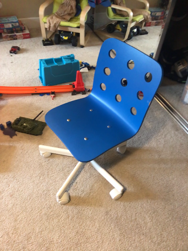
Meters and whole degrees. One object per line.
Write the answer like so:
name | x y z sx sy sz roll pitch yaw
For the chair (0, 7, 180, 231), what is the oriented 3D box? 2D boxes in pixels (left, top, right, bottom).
chair | -0.085 -0.009 0.858 0.362 0.705 0.521 -32 56 -30
